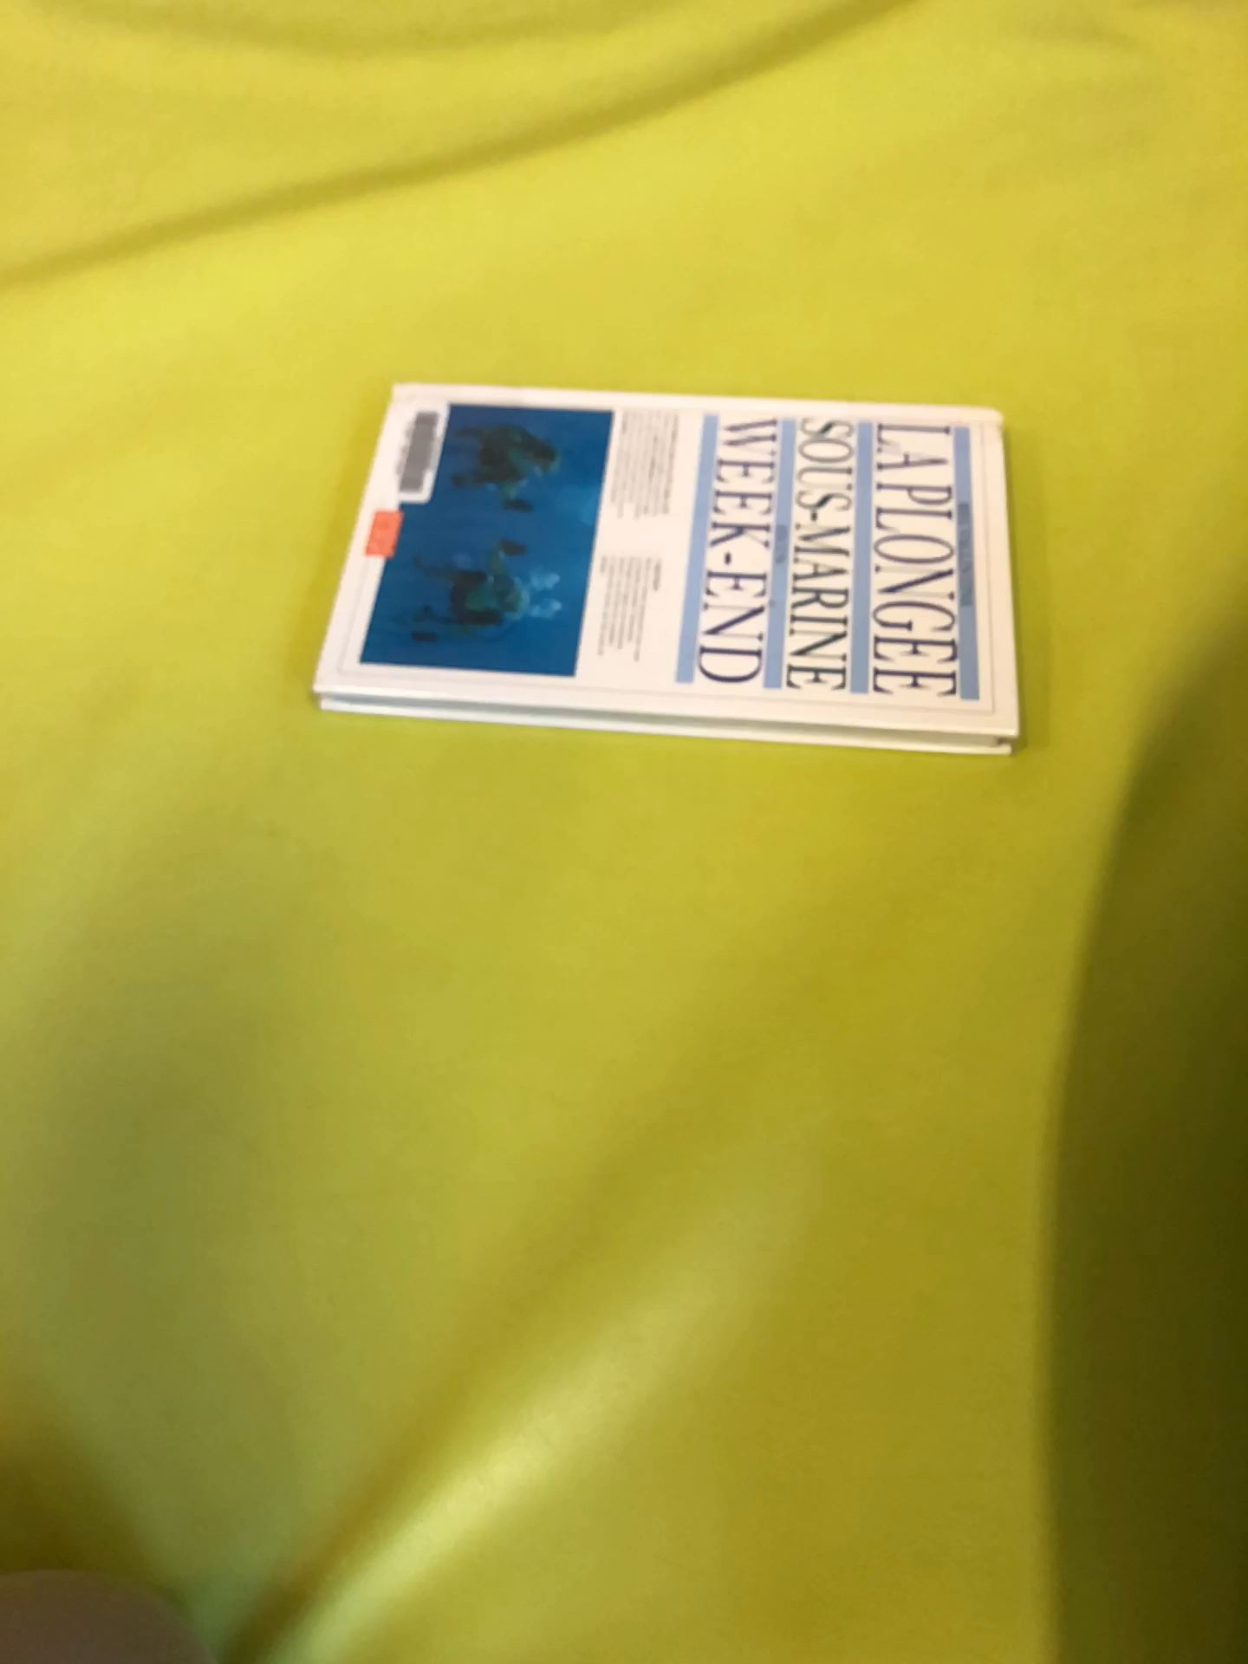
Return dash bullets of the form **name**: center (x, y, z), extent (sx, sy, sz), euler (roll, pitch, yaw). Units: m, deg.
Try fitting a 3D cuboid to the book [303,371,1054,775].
- **book**: center (0.023, -0.095, 0.480), extent (0.234, 0.020, 0.151), euler (4, 58, 4)
